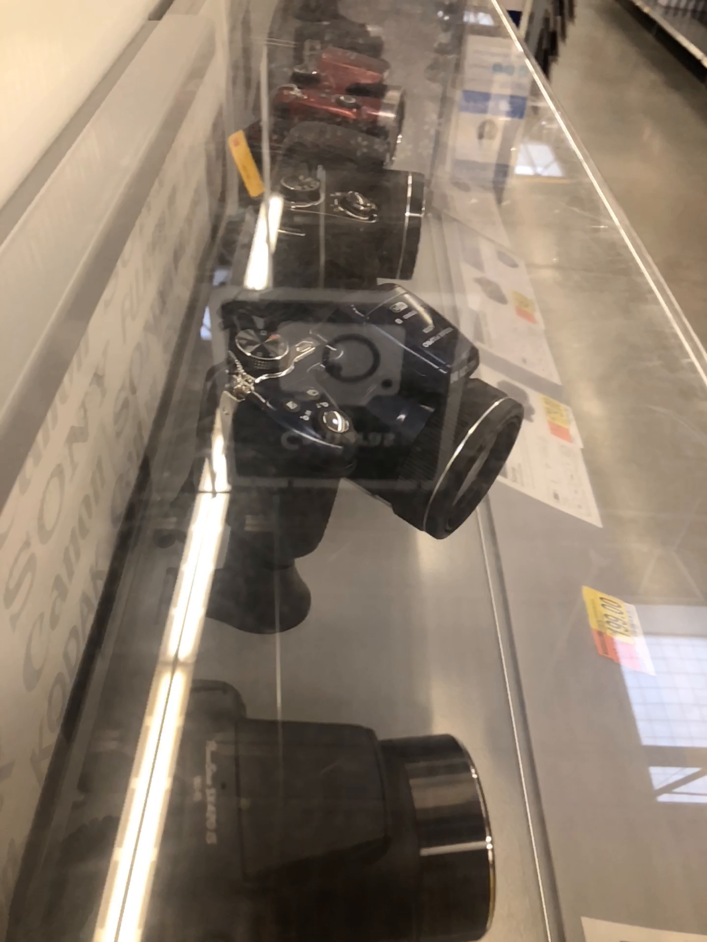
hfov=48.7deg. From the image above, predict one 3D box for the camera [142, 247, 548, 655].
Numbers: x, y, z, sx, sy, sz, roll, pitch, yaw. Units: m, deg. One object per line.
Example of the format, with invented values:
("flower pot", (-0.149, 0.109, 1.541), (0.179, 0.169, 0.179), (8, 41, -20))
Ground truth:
("camera", (-0.002, -0.016, 0.334), (0.110, 0.090, 0.121), (27, 46, 21))
